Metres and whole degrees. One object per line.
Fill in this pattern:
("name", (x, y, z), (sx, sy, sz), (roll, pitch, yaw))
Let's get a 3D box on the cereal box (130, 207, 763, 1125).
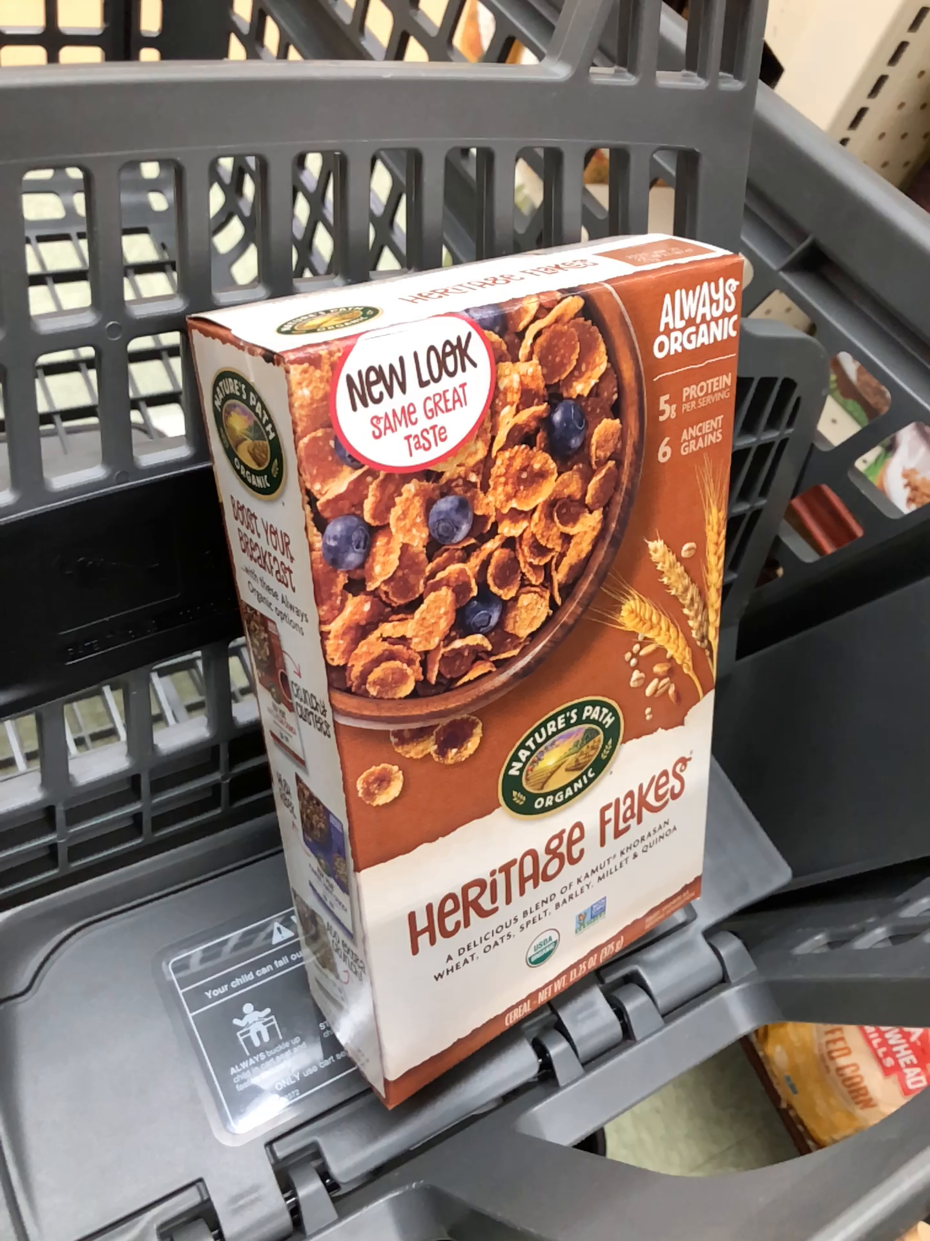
("cereal box", (0.013, 0.011, 0.337), (0.170, 0.250, 0.060), (-23, 31, -30))
